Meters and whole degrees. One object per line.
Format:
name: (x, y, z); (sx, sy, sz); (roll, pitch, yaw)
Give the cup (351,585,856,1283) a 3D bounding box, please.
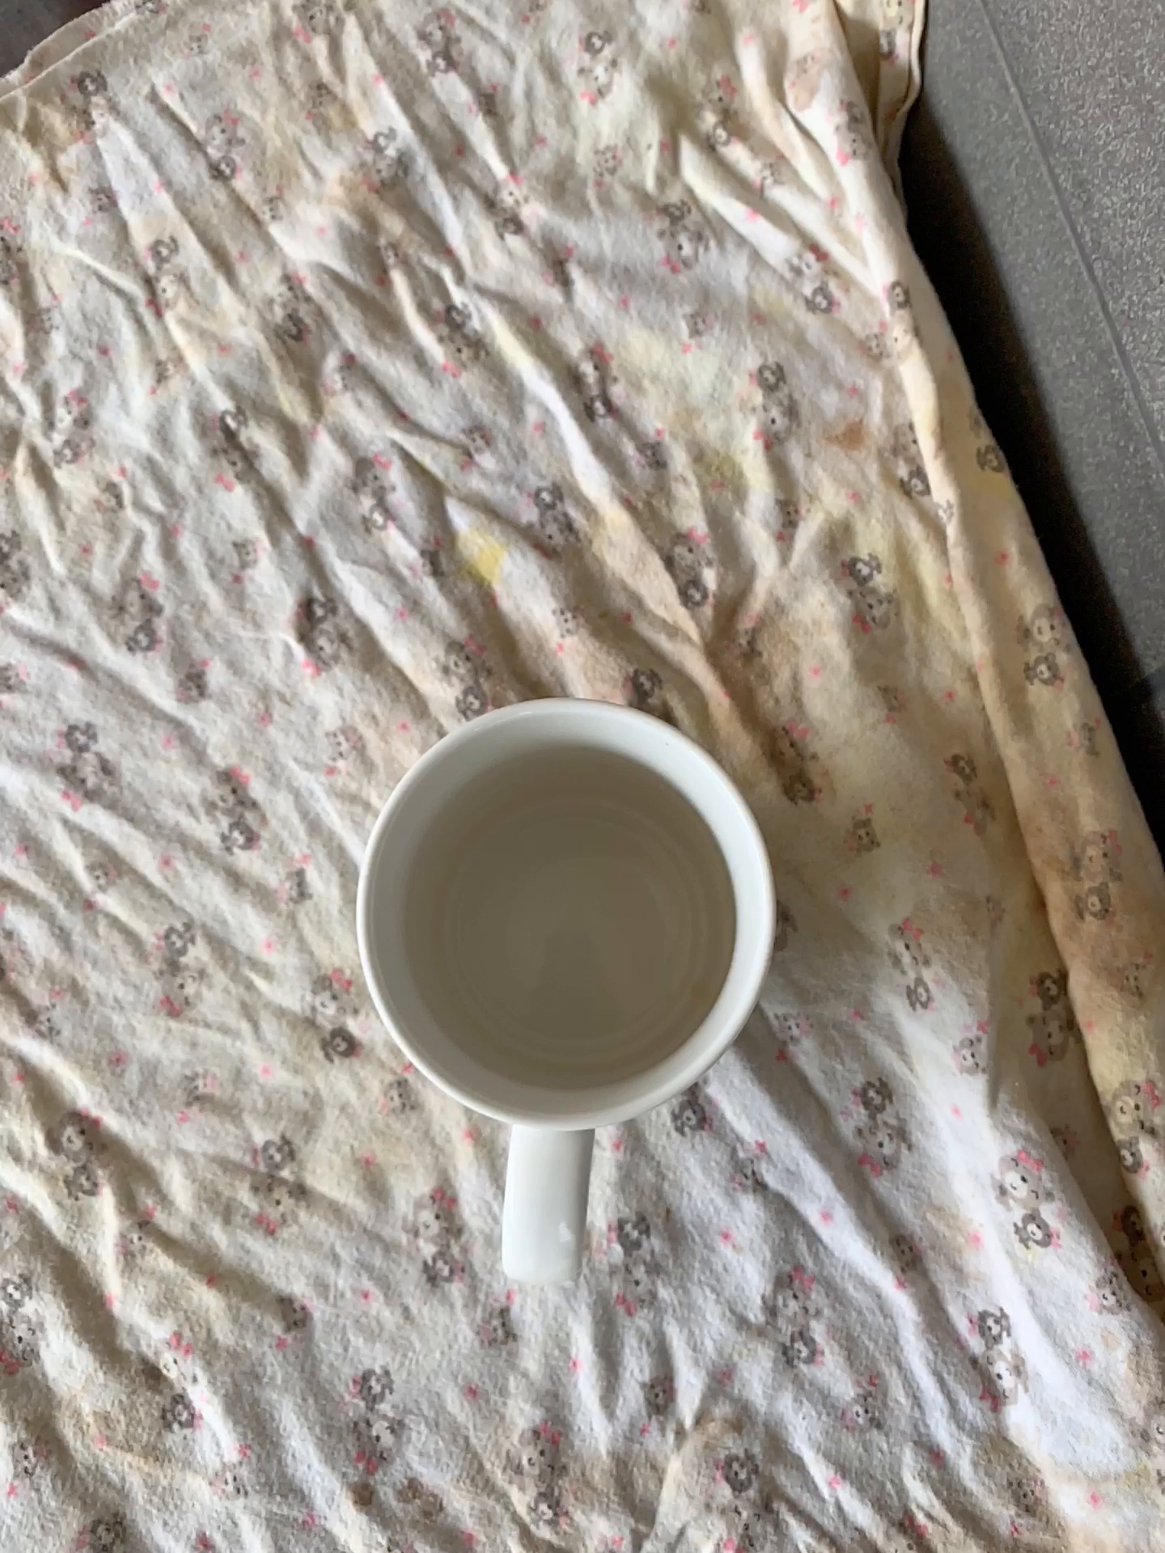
cup: (0.003, 0.037, 0.282); (0.090, 0.110, 0.130); (-1, 79, 0)
